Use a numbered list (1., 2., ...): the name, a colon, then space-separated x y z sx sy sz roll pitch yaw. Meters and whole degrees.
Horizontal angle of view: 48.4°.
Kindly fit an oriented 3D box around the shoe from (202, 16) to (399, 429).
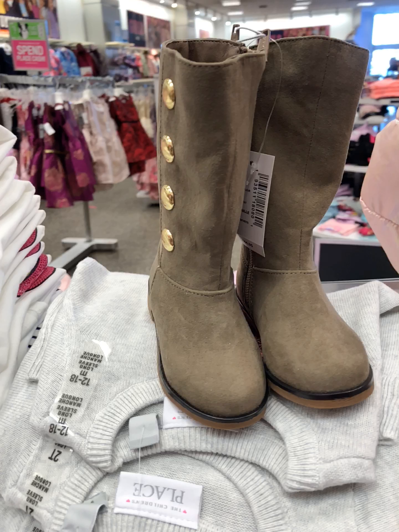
1. shoe: 0.057 -0.033 0.266 0.070 0.184 0.148 -7 22 -11

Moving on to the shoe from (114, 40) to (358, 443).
1. shoe: 0.001 -0.026 0.249 0.070 0.164 0.156 -7 33 -11
